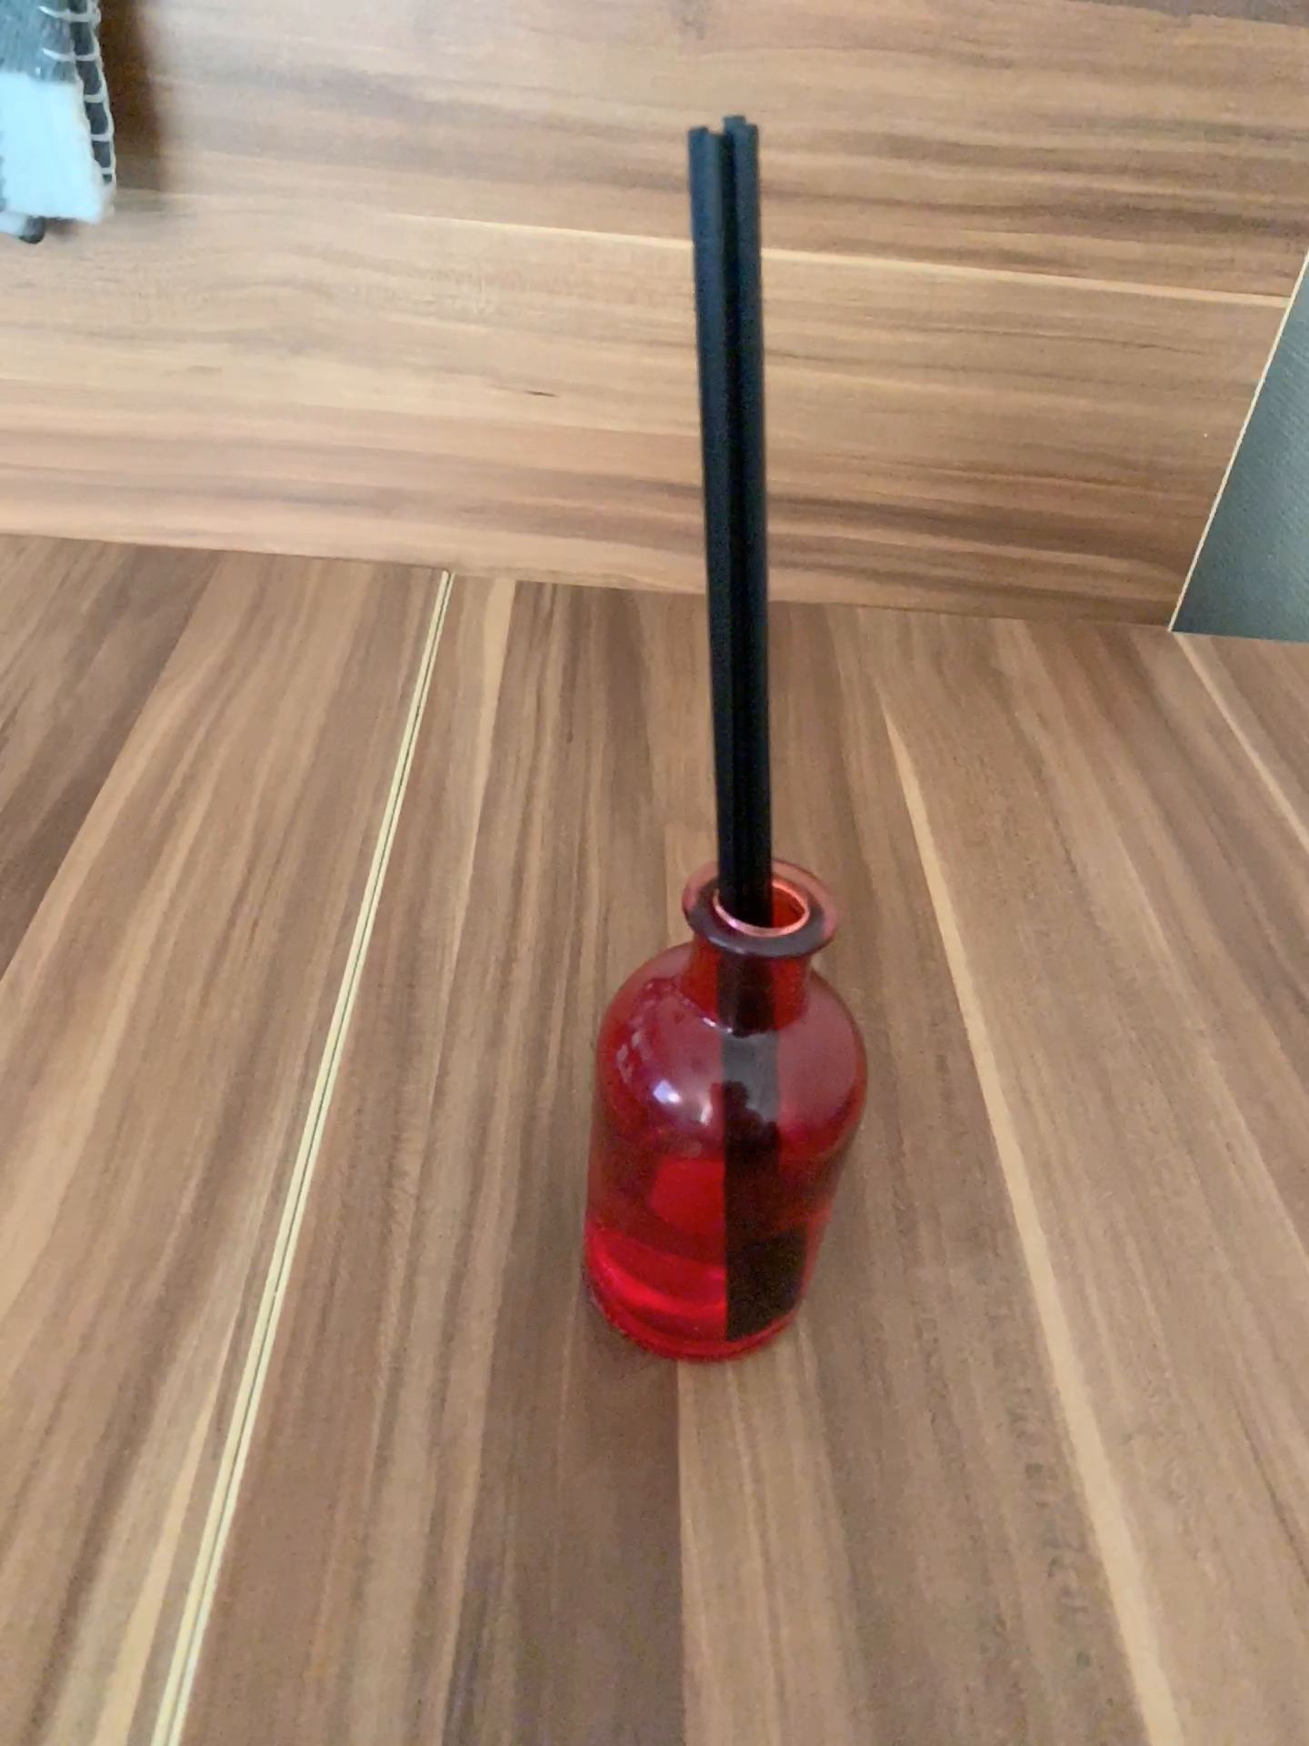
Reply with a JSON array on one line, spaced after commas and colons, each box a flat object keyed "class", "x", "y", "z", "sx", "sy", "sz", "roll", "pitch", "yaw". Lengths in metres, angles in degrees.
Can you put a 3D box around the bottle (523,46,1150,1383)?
[{"class": "bottle", "x": 0.014, "y": -0.001, "z": 0.238, "sx": 0.060, "sy": 0.239, "sz": 0.050, "roll": 7, "pitch": 39, "yaw": 0}]
